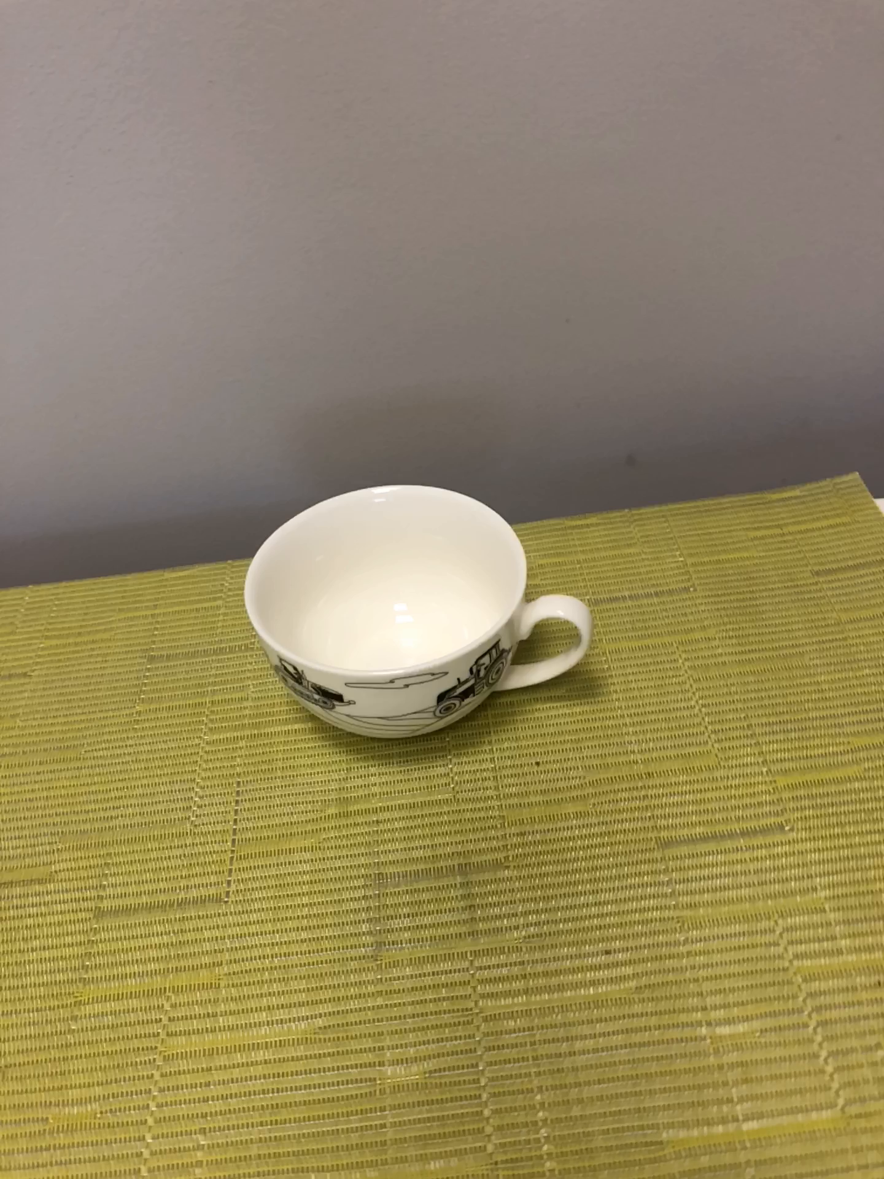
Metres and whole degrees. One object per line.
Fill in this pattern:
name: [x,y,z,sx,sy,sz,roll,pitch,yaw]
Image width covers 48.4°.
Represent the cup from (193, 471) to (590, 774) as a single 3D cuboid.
cup: [-0.009,0.007,0.333,0.113,0.051,0.089,2,42,10]
